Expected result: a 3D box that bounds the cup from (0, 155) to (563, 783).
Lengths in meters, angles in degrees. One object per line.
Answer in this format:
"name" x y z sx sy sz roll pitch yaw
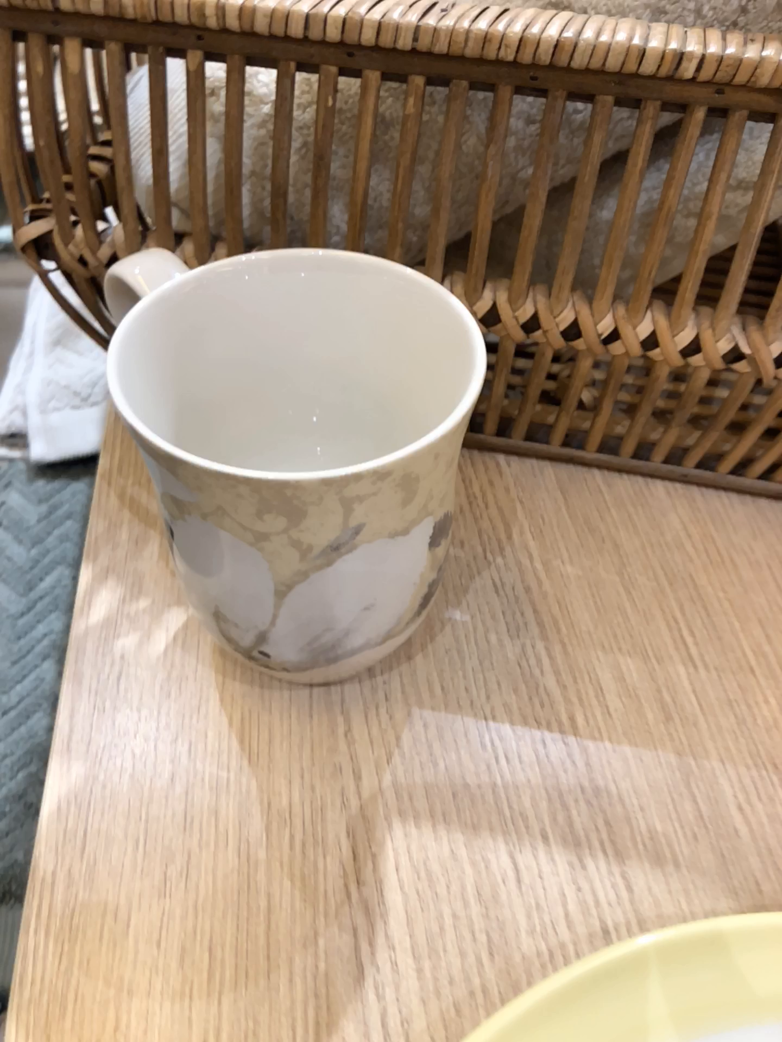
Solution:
"cup" -0.035 -0.022 0.254 0.090 0.099 0.131 -24 52 -22
